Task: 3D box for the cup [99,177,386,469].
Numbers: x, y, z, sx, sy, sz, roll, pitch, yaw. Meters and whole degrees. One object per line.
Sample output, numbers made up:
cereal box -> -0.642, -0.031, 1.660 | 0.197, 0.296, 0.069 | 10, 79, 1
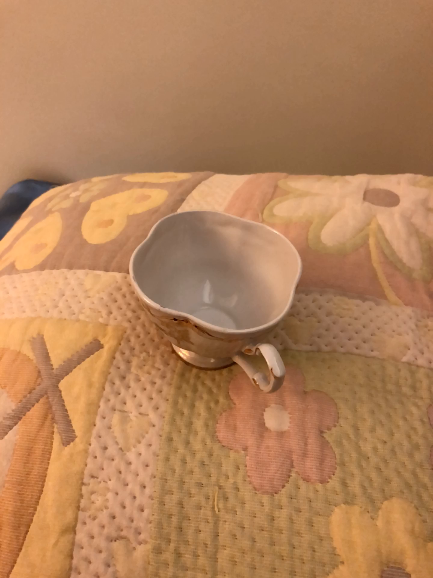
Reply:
cup -> 0.004, 0.009, 0.285 | 0.100, 0.070, 0.141 | -17, 49, -23
